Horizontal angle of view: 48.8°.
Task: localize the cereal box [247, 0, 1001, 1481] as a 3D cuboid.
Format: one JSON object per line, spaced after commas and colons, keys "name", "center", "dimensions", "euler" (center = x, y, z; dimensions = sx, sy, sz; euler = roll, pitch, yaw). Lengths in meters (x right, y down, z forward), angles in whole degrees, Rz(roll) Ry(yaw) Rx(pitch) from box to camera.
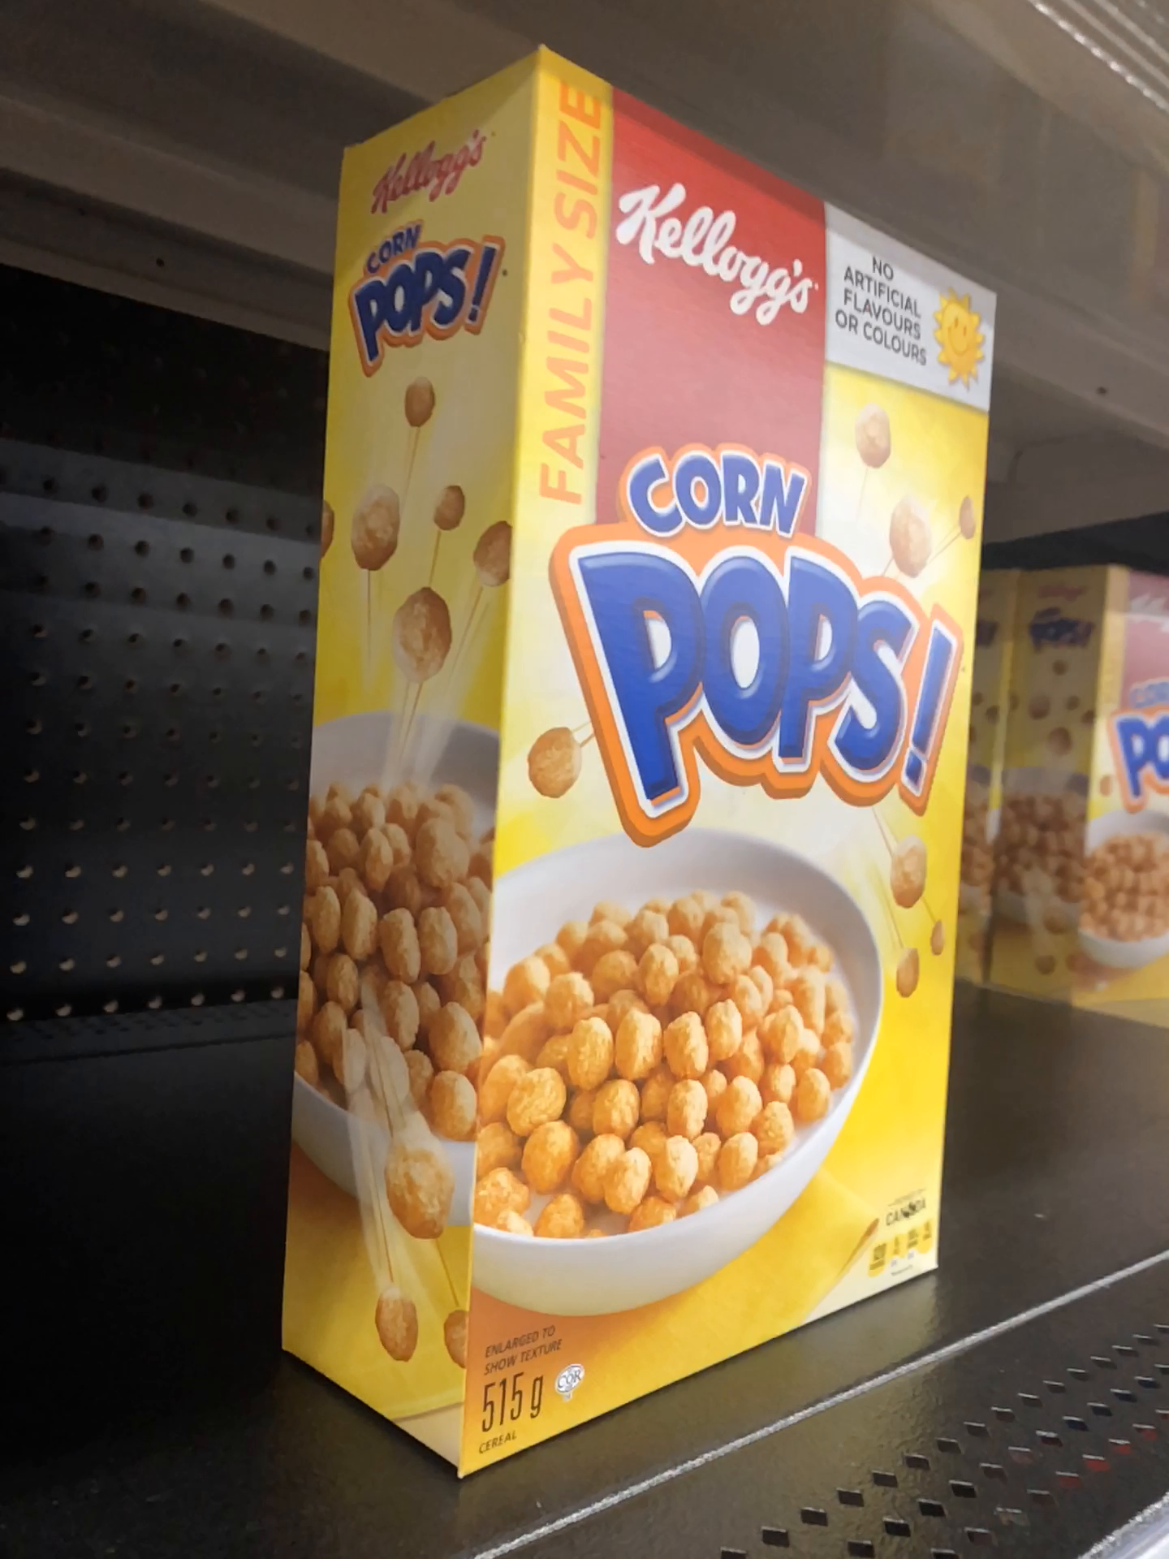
{"name": "cereal box", "center": [0.023, -0.013, 0.373], "dimensions": [0.200, 0.320, 0.090], "euler": [3, -1, -45]}
